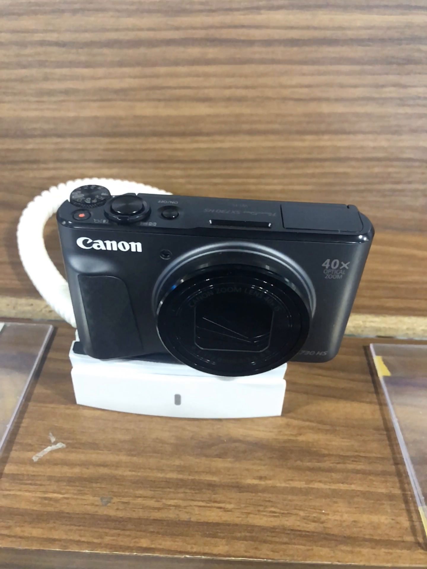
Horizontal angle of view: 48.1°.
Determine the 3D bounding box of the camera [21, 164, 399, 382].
[{"bbox_3d":[-0.002,-0.003,0.172,0.109,0.063,0.037,3,40,0],"label":"camera"}]
